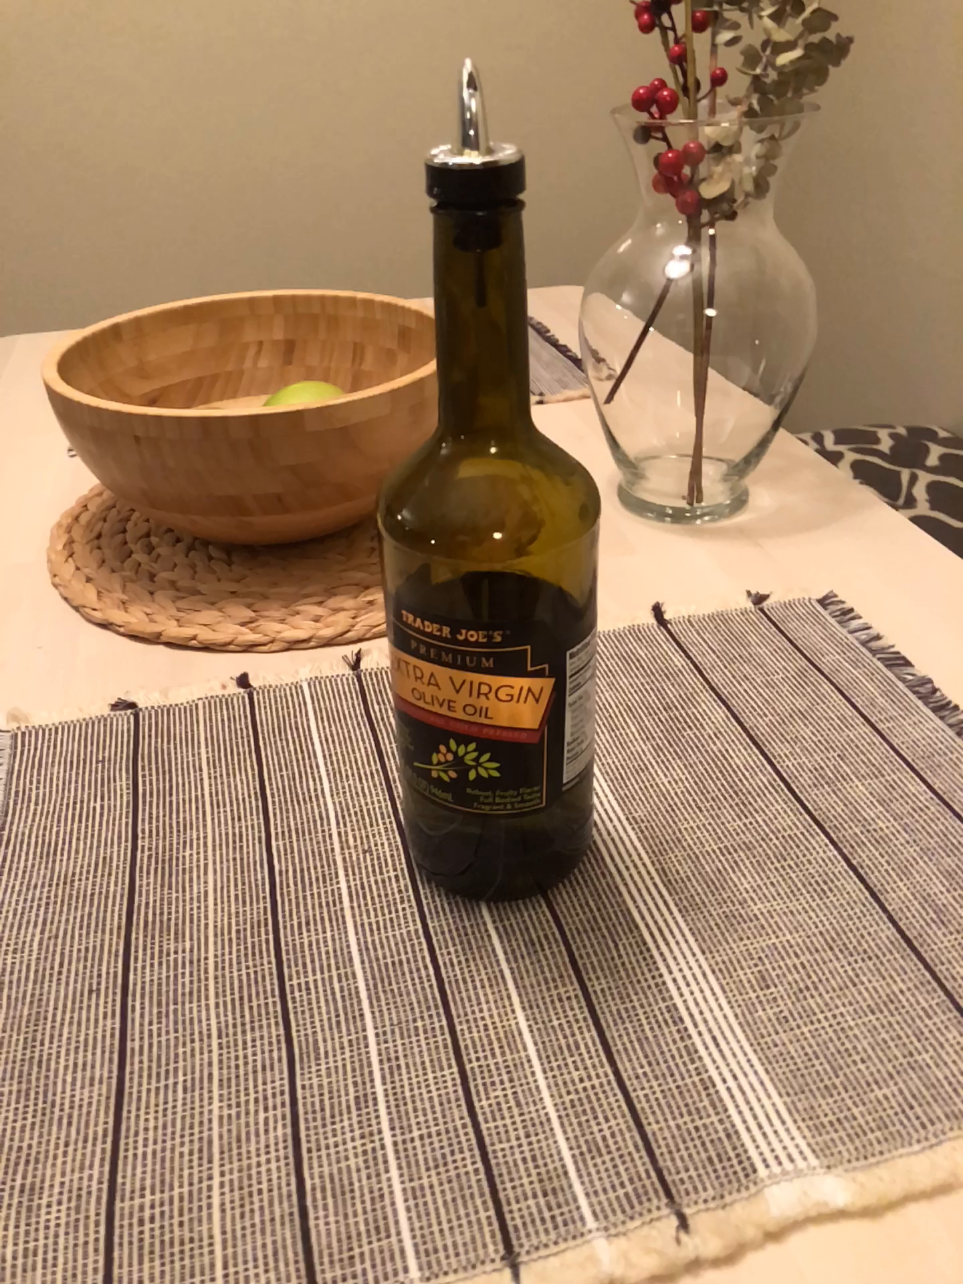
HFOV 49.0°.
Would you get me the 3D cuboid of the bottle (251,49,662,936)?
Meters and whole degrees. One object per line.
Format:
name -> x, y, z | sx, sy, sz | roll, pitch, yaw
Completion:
bottle -> 0.001, -0.045, 0.397 | 0.091, 0.304, 0.095 | -2, 31, 1
